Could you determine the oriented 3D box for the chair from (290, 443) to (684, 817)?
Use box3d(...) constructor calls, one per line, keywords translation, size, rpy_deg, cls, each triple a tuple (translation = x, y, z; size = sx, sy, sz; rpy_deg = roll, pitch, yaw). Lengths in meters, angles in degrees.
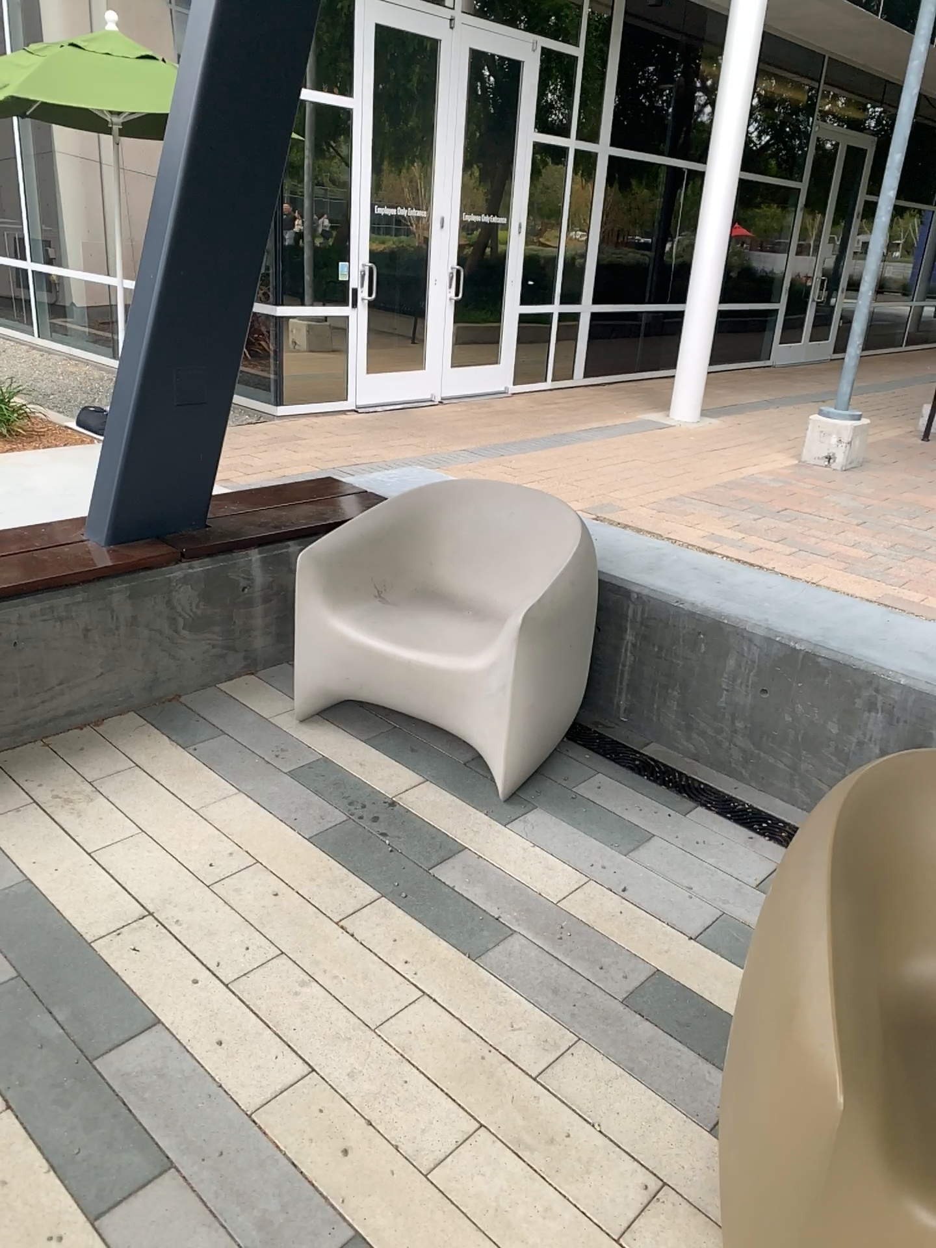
box3d(translation=(0.069, -0.057, 3.352), size=(0.982, 0.786, 0.923), rpy_deg=(19, 28, 23), cls="chair")
